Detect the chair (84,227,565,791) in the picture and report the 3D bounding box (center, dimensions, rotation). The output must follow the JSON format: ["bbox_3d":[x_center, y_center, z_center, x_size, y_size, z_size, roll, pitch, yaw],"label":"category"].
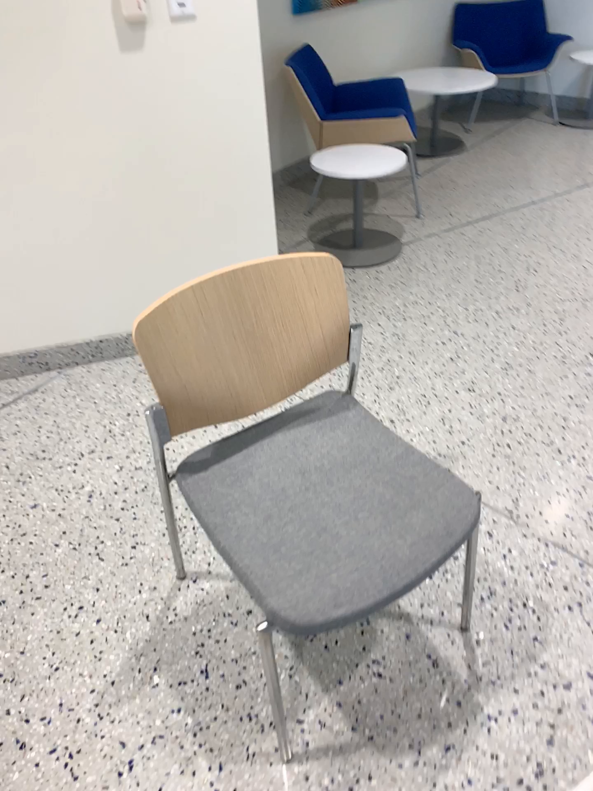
[{"bbox_3d":[0.028,0.190,1.206,0.538,0.768,0.595,-23,41,-23],"label":"chair"}]

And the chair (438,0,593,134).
[{"bbox_3d":[1.557,-2.477,4.456,0.747,0.768,0.819,-5,37,-1],"label":"chair"}]

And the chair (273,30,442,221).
[{"bbox_3d":[0.342,-1.458,3.254,0.761,0.758,0.774,2,38,8],"label":"chair"}]
